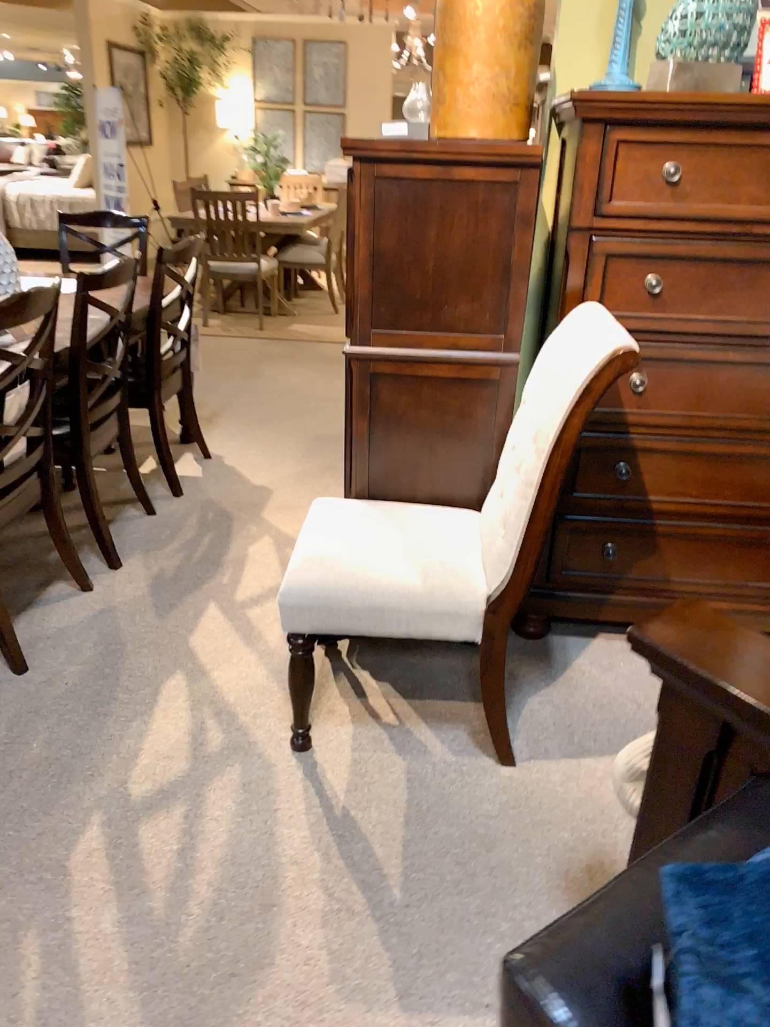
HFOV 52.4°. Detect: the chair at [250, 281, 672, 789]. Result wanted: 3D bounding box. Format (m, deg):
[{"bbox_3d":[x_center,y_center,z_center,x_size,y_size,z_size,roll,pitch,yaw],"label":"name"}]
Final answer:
[{"bbox_3d":[0.126,0.023,1.797,0.717,0.949,0.587,4,25,3],"label":"chair"}]
